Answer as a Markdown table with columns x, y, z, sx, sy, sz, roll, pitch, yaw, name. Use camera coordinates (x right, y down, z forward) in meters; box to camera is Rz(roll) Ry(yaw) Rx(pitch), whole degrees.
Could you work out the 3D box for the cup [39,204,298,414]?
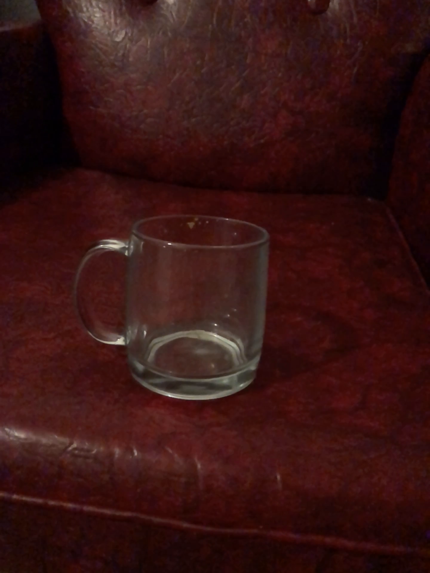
| x | y | z | sx | sy | sz | roll | pitch | yaw | name |
| --- | --- | --- | --- | --- | --- | --- | --- | --- | --- |
| -0.024 | 0.007 | 0.290 | 0.128 | 0.090 | 0.091 | 5 | 19 | 2 | cup |
